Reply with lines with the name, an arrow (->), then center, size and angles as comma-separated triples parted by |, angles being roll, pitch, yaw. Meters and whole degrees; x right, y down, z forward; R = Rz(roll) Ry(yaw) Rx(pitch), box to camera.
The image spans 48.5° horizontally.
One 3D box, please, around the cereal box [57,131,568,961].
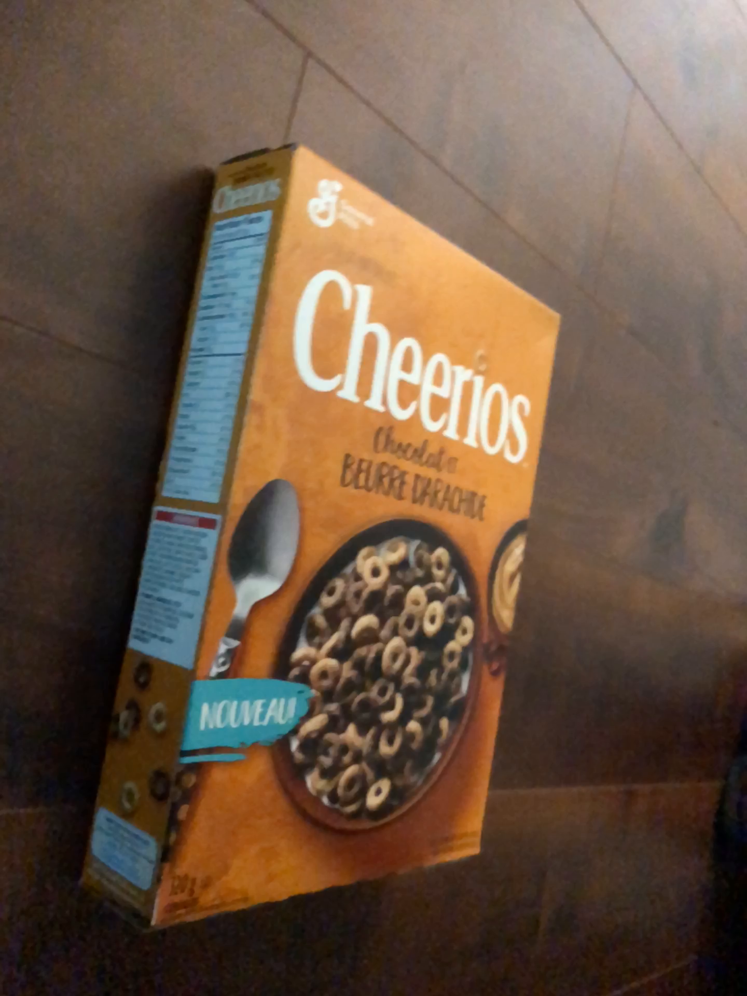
cereal box -> -0.010, 0.026, 0.389 | 0.201, 0.060, 0.300 | 14, 85, -47
